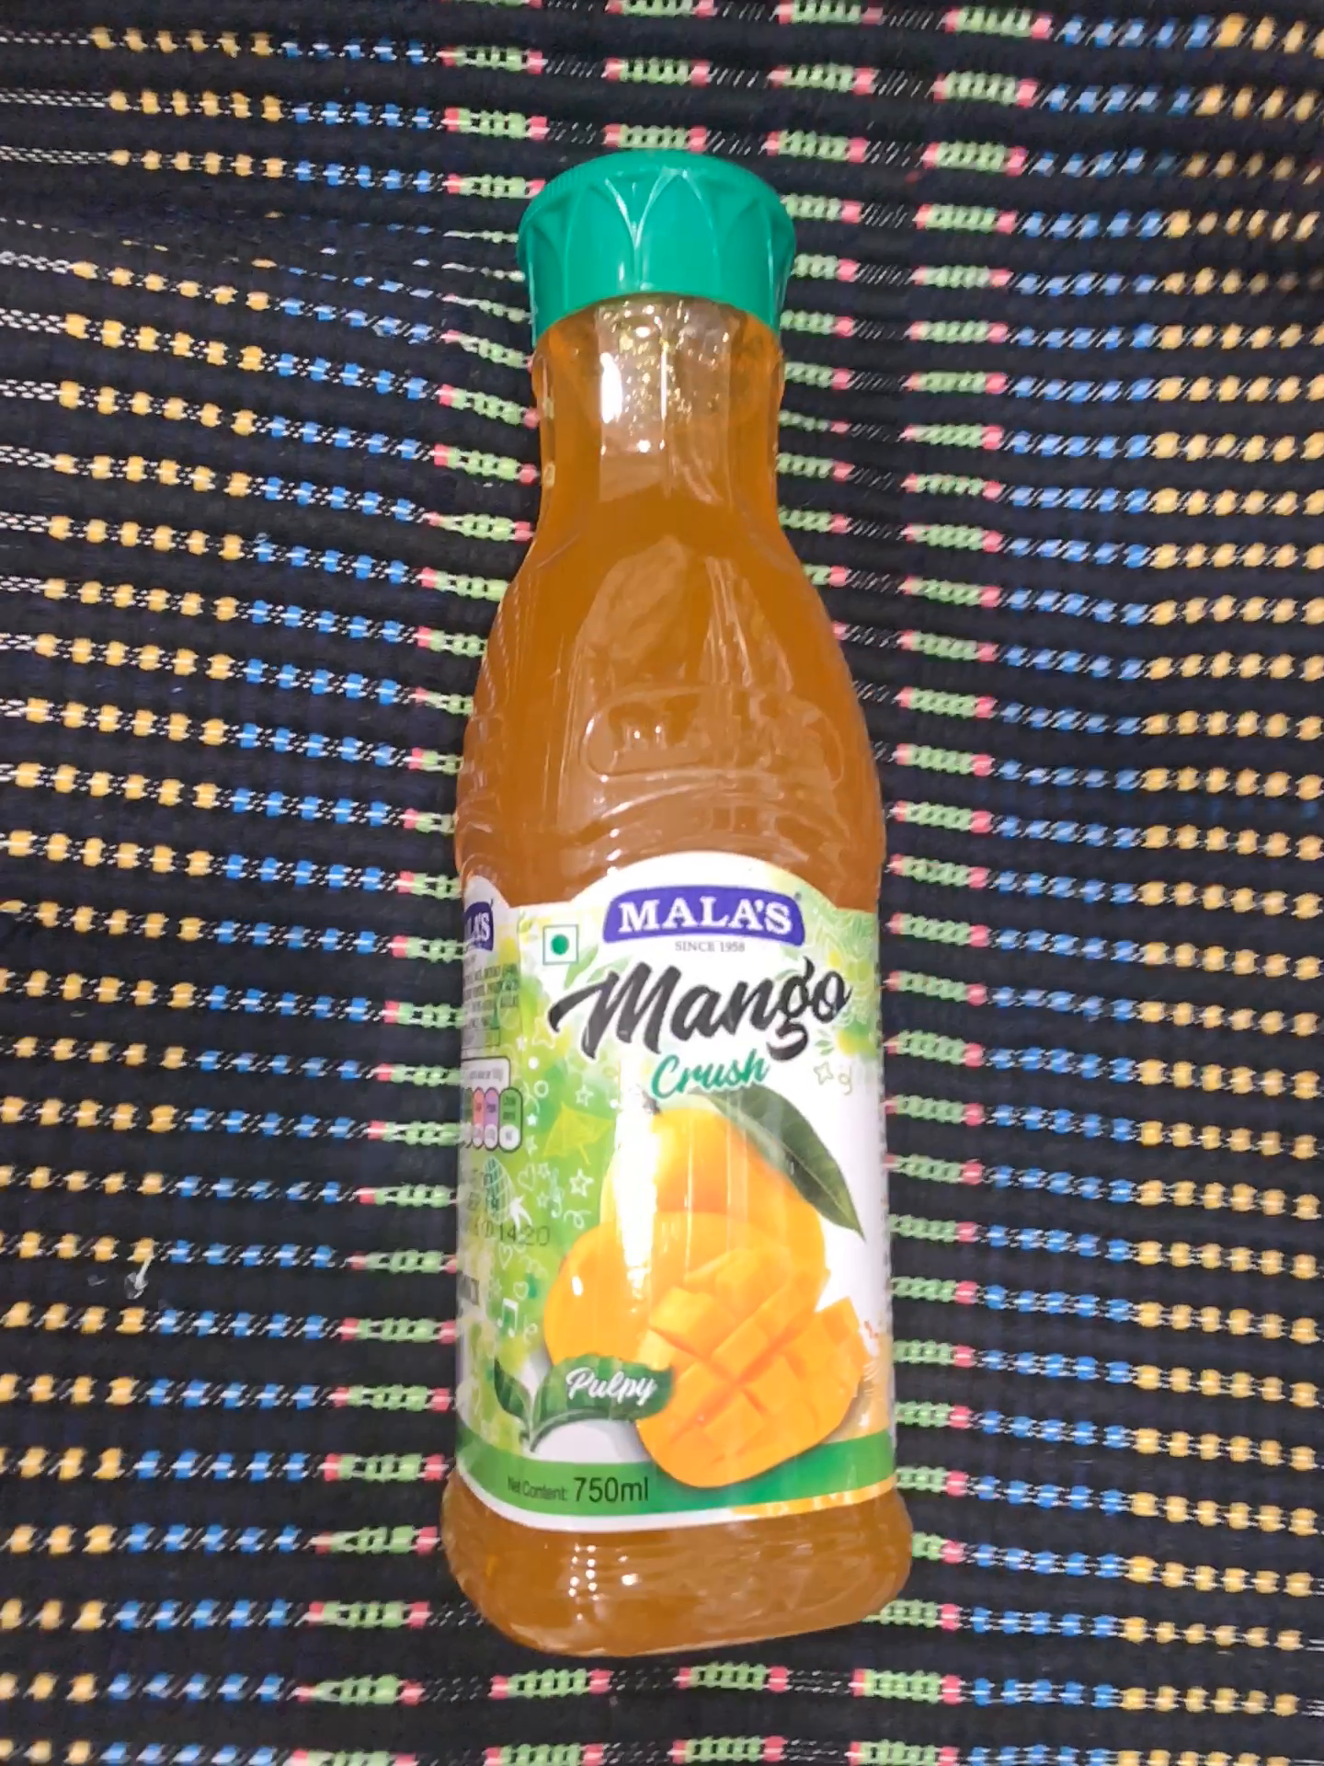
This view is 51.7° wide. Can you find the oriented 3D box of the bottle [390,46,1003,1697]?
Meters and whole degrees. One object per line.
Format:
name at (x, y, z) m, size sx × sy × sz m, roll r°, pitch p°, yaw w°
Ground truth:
bottle at (-0.004, -0.006, 0.248) m, size 0.080 × 0.090 × 0.240 m, roll 2°, pitch 79°, yaw -14°
